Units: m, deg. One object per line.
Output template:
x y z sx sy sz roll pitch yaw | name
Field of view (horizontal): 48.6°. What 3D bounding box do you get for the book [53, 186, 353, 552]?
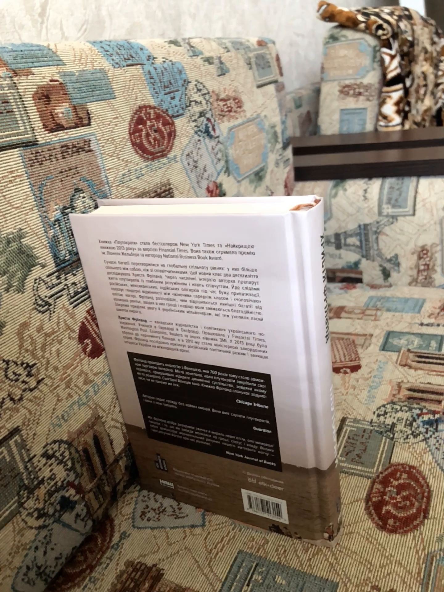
-0.006 0.046 0.309 0.157 0.215 0.037 4 26 28 | book
